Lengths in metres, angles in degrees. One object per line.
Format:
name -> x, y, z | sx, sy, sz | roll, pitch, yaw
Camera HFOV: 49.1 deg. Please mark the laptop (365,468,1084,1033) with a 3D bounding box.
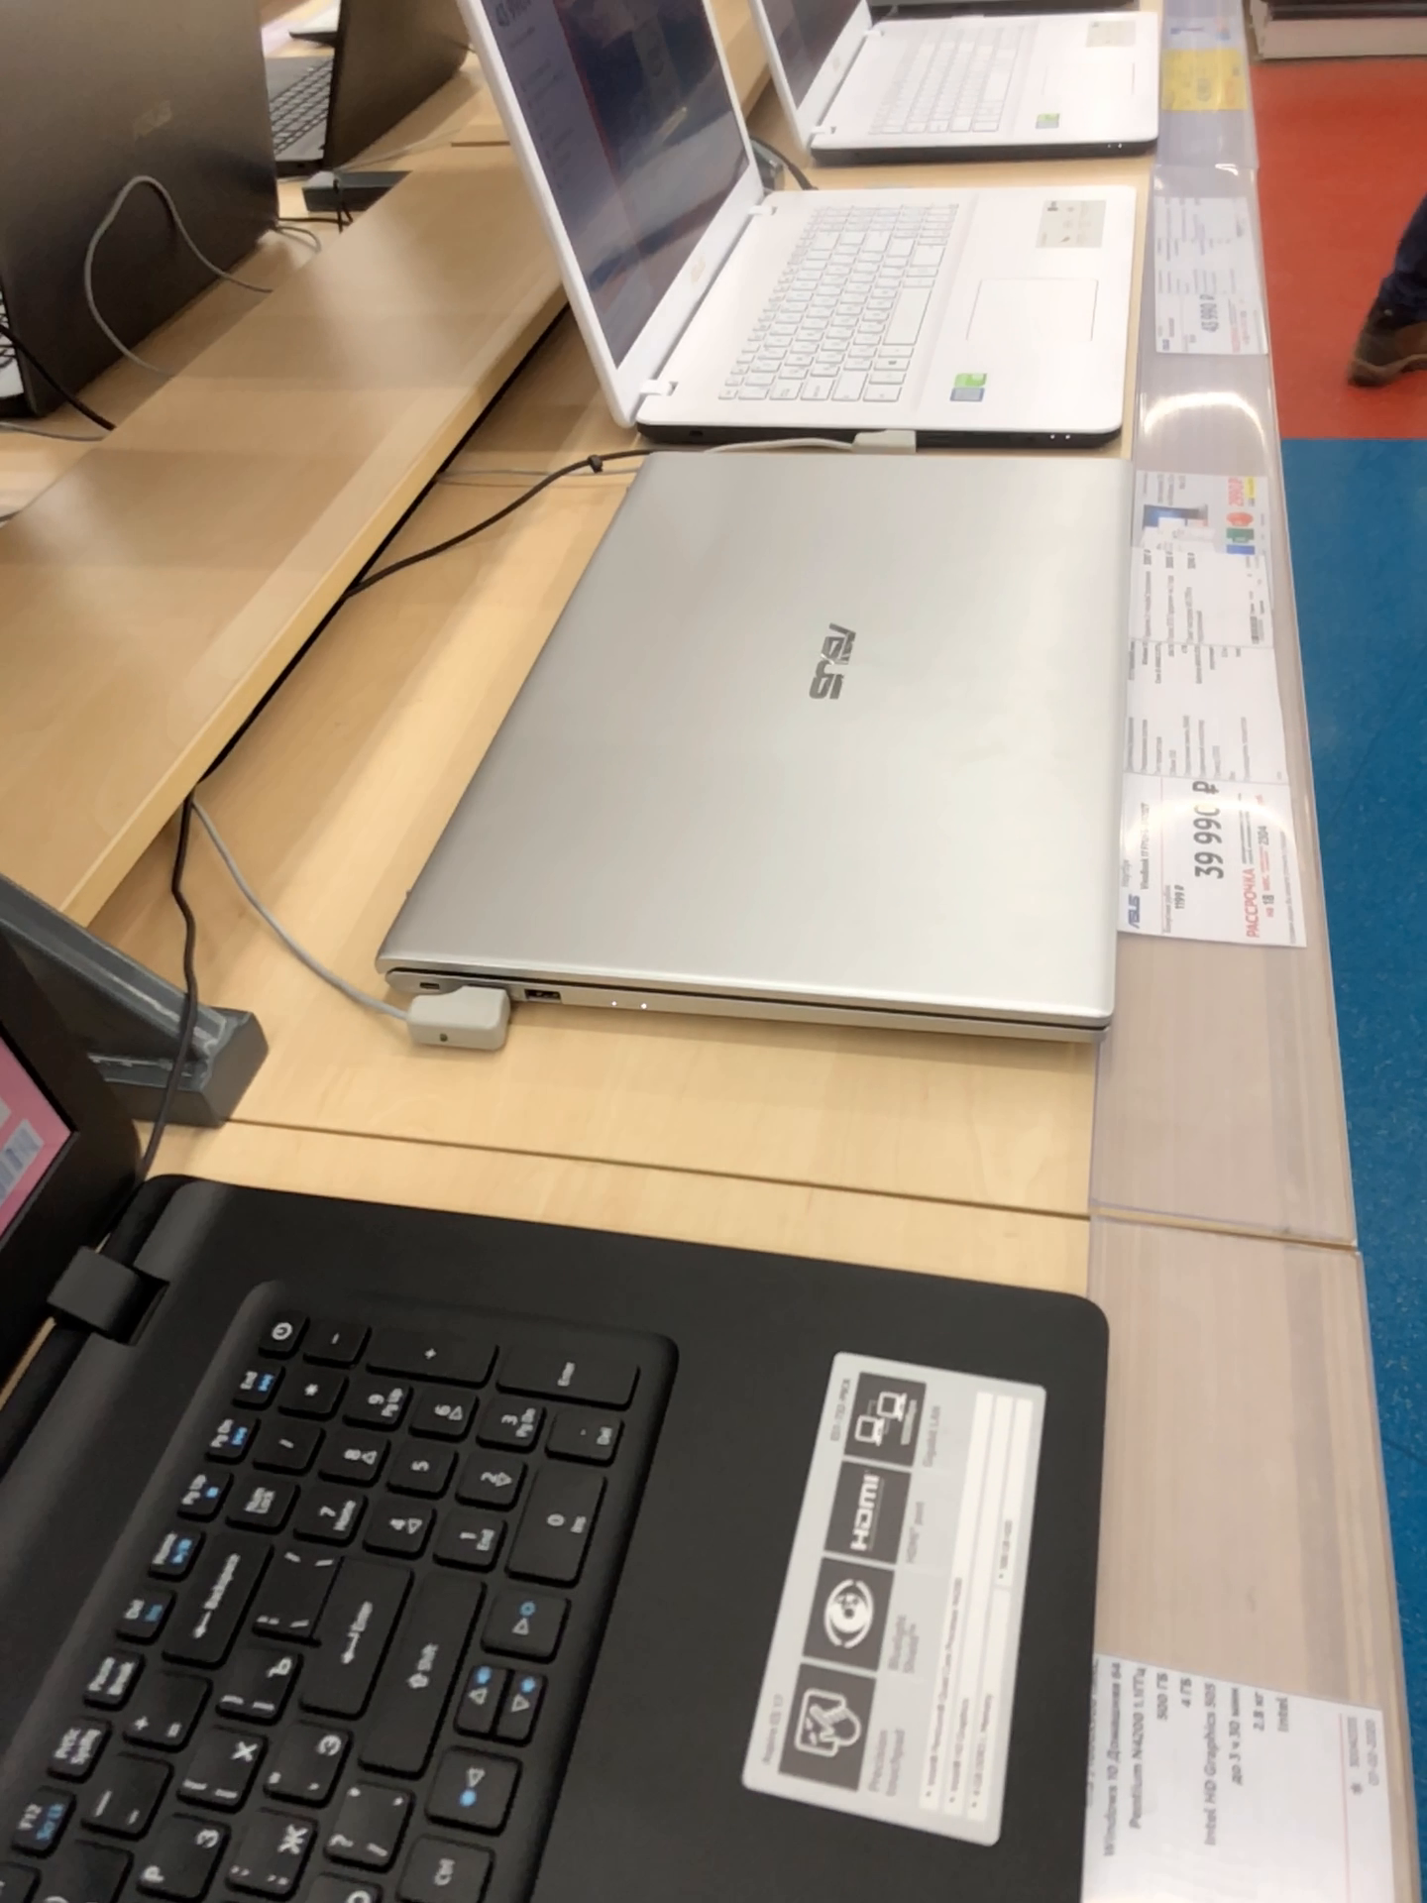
laptop -> 0.032, -0.116, 0.673 | 0.232, 0.006, 0.393 | 6, 42, 11
